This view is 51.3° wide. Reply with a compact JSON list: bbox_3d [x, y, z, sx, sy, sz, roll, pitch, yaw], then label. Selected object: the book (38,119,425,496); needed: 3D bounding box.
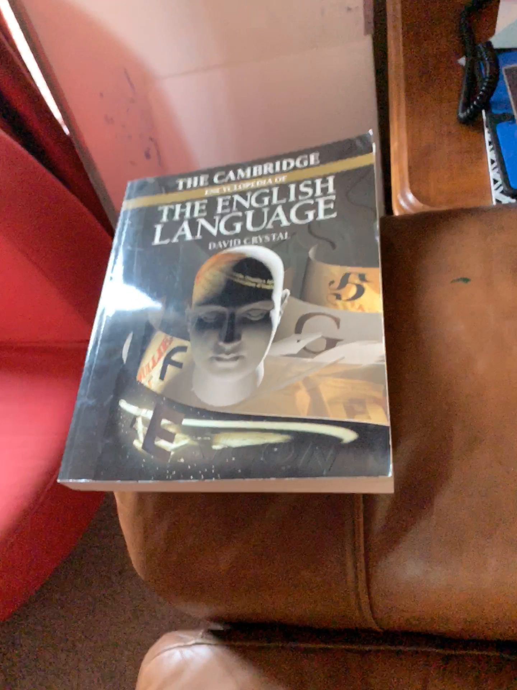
[{"bbox_3d":[-0.011,-0.034,0.406,0.240,0.050,0.281,-4,60,15],"label":"book"}]
